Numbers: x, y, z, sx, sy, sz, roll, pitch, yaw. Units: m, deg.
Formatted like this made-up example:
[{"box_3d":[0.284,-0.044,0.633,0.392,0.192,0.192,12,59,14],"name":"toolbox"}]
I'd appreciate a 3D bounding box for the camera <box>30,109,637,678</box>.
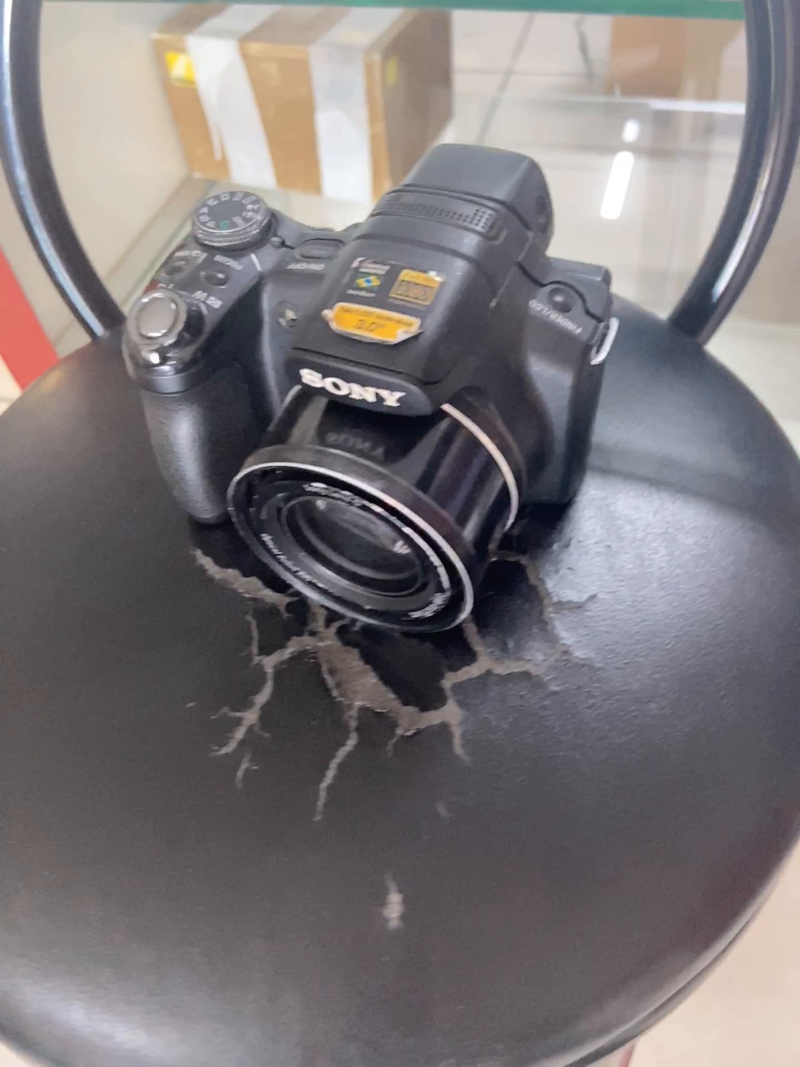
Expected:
[{"box_3d":[-0.007,-0.040,0.215,0.100,0.080,0.100,16,55,19],"name":"camera"}]
